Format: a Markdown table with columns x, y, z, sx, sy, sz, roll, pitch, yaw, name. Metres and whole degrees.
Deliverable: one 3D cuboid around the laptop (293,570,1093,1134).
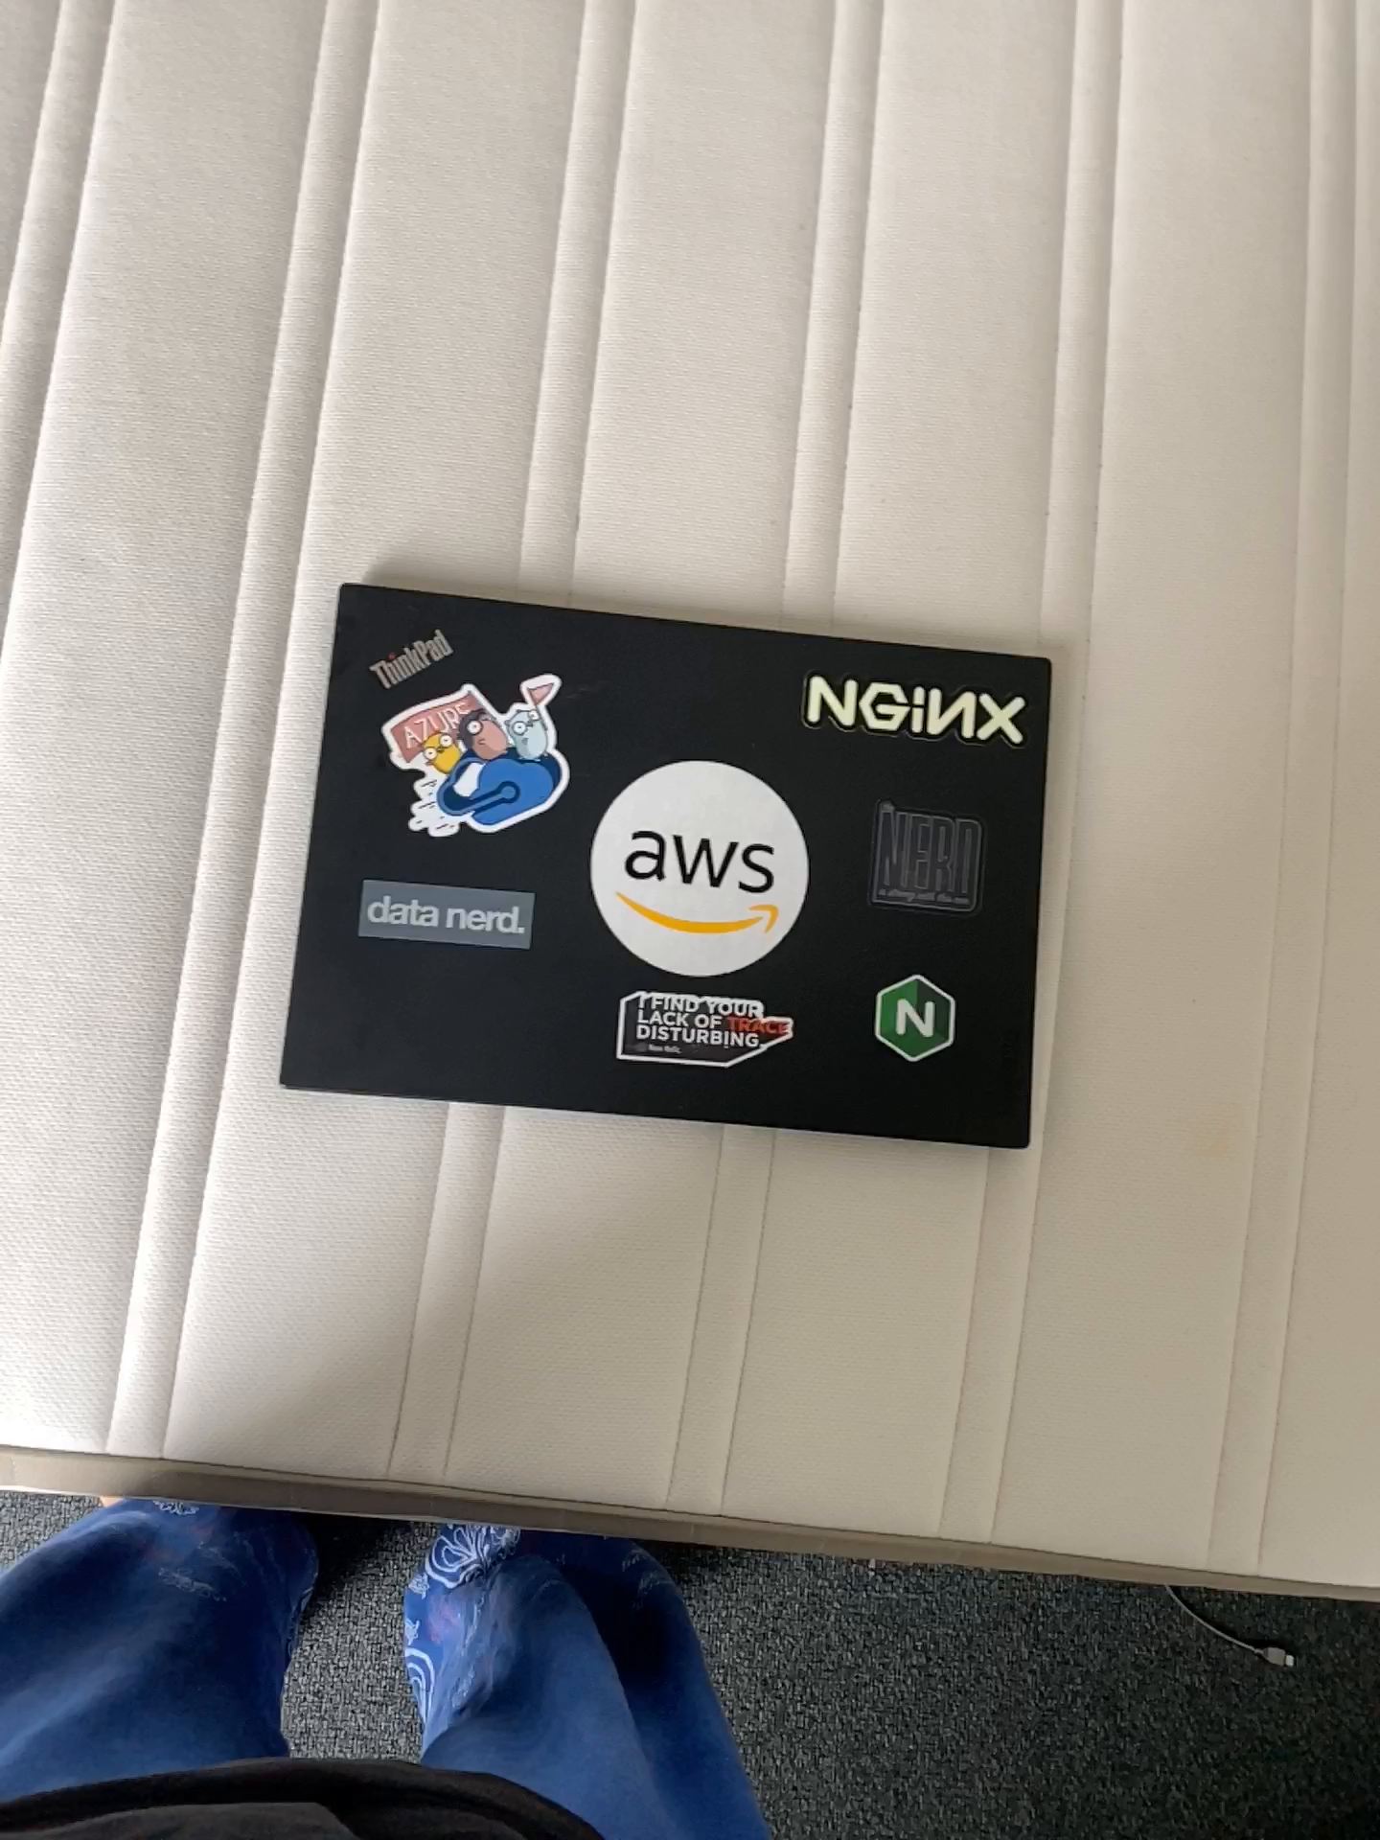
| x | y | z | sx | sy | sz | roll | pitch | yaw | name |
| --- | --- | --- | --- | --- | --- | --- | --- | --- | --- |
| 0.009 | -0.031 | 0.614 | 0.322 | 0.014 | 0.224 | 5 | 79 | -2 | laptop |
